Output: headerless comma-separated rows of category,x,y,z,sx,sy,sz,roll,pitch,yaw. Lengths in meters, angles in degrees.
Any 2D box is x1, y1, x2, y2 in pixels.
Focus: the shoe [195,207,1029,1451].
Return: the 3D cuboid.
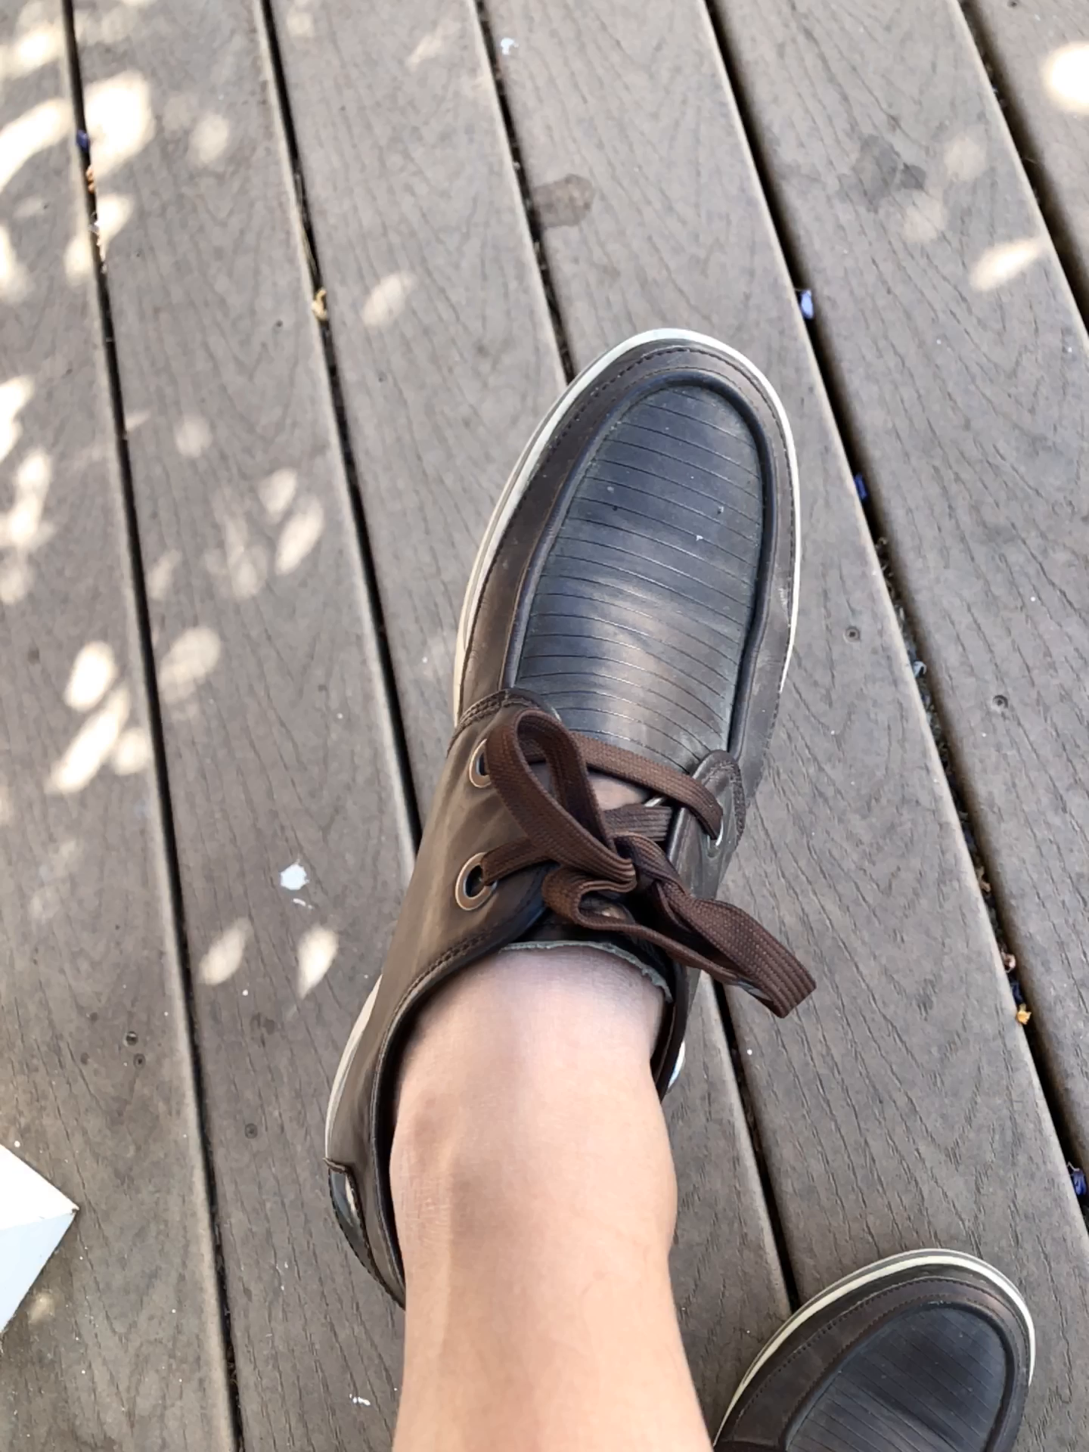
shoe,0.013,0.034,0.342,0.118,0.104,0.295,18,90,-6
